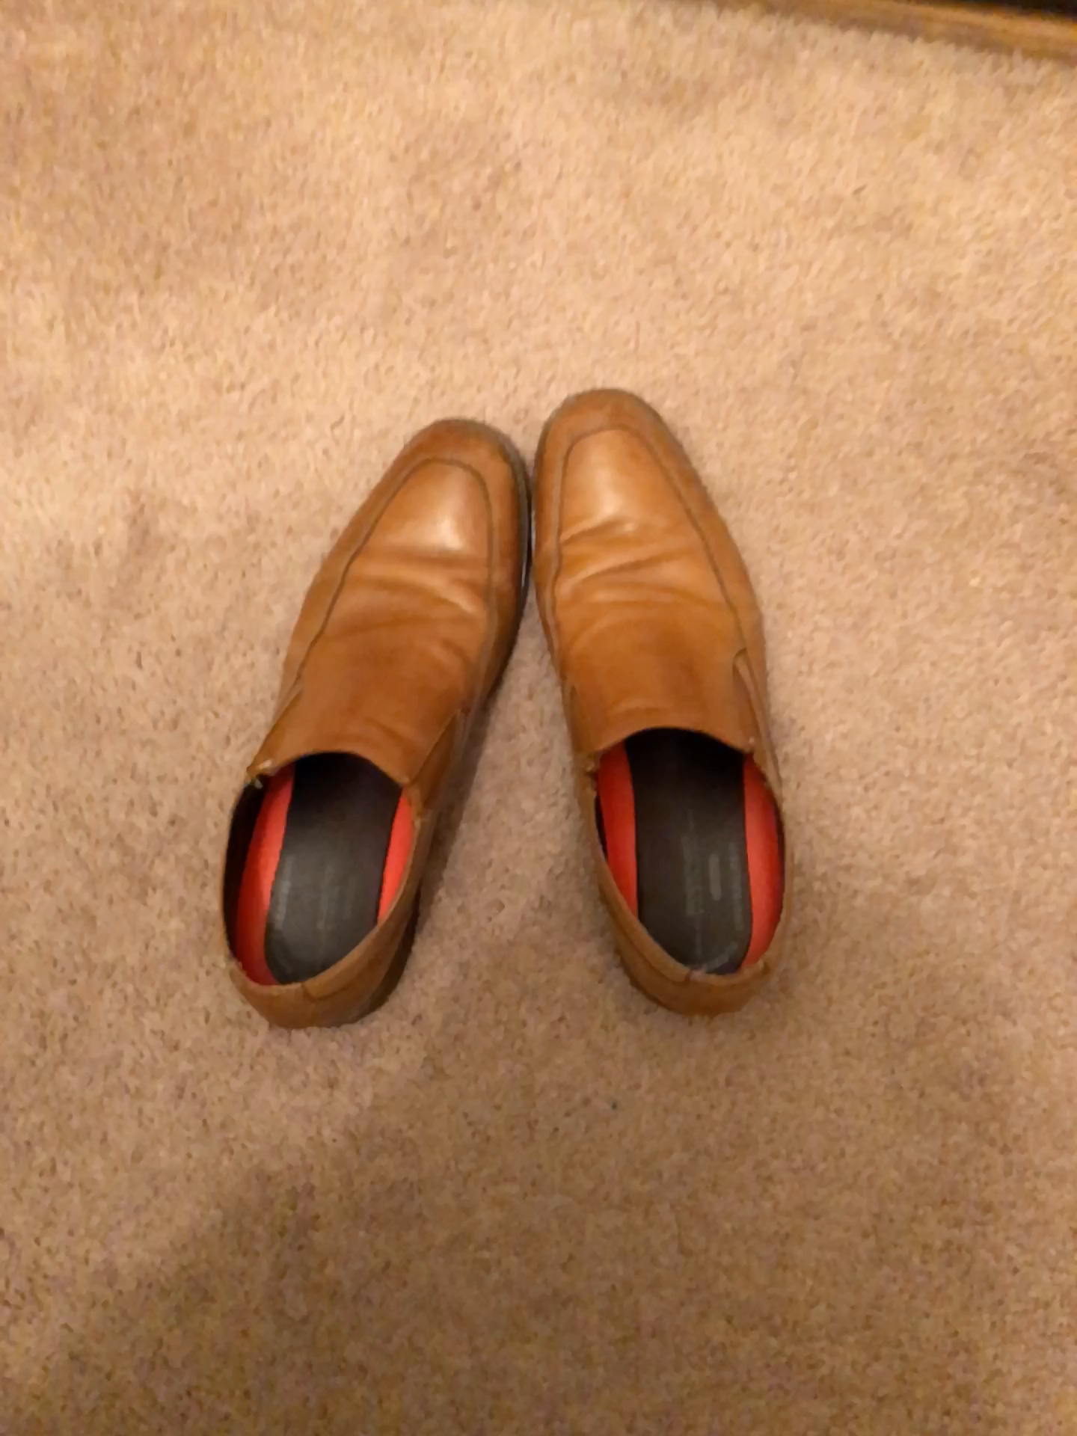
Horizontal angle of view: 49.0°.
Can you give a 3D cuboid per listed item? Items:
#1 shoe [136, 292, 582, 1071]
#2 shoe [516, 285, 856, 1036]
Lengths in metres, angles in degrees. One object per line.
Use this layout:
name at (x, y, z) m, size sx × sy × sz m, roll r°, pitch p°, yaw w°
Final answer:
shoe at (-0.068, -0.018, 0.536) m, size 0.100 × 0.090 × 0.320 m, roll 13°, pitch 79°, yaw 7°
shoe at (0.059, -0.024, 0.530) m, size 0.107 × 0.089 × 0.311 m, roll -5°, pitch 77°, yaw 4°
